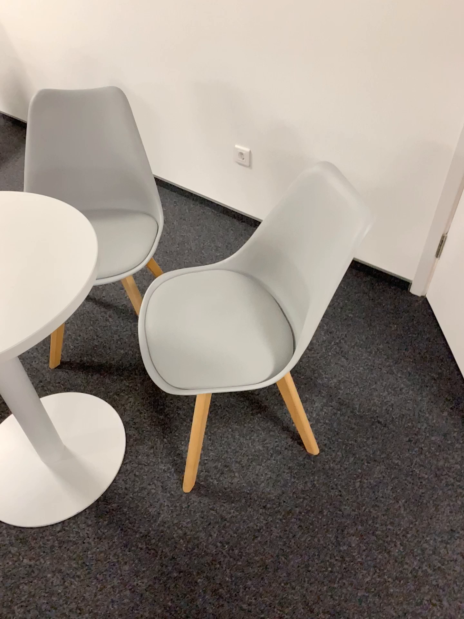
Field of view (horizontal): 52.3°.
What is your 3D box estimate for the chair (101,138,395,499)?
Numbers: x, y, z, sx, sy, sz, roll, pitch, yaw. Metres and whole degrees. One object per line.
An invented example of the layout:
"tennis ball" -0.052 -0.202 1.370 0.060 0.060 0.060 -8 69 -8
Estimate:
"chair" 0.007 0.054 1.276 0.522 0.810 0.446 -10 44 -9
